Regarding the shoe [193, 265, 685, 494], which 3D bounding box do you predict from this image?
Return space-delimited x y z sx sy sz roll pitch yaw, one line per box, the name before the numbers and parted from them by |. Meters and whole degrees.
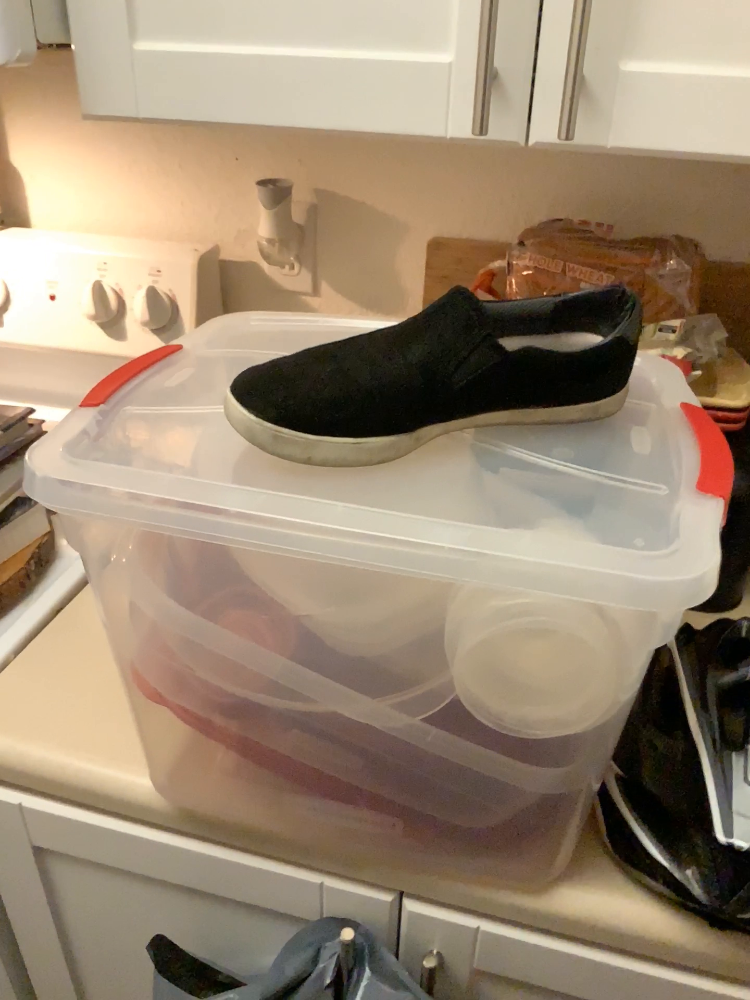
shoe | 0.039 -0.082 0.505 0.270 0.070 0.100 -11 33 -20
